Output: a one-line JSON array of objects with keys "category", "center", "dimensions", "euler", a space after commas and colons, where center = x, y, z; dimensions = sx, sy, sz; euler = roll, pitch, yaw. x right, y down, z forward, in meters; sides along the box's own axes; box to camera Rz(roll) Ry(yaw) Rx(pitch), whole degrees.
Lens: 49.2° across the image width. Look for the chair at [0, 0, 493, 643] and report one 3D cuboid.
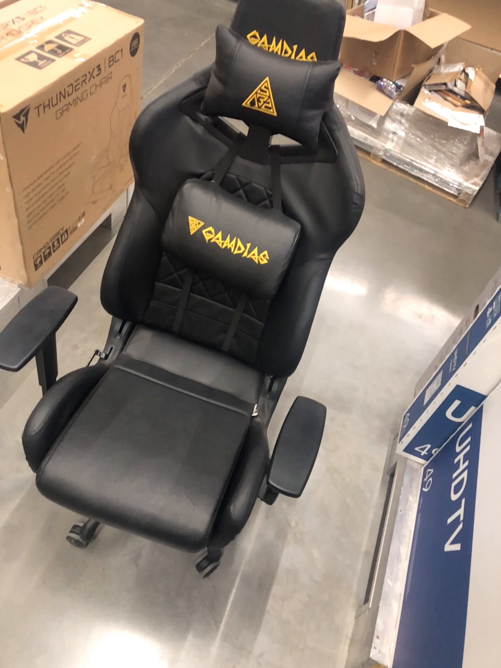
[{"category": "chair", "center": [-0.134, 0.009, 1.255], "dimensions": [0.740, 1.282, 0.785], "euler": [20, 48, 4]}]
